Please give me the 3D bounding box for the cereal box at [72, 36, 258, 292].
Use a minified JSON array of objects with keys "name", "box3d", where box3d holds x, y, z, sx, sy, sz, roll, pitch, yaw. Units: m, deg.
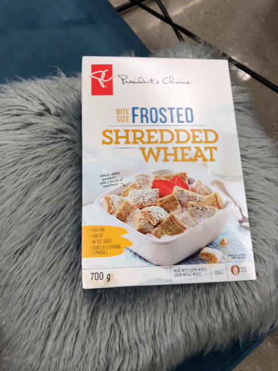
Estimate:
[{"name":"cereal box","box3d":[0.018,-0.033,0.403,0.200,0.070,0.310,0,73,-10]}]
